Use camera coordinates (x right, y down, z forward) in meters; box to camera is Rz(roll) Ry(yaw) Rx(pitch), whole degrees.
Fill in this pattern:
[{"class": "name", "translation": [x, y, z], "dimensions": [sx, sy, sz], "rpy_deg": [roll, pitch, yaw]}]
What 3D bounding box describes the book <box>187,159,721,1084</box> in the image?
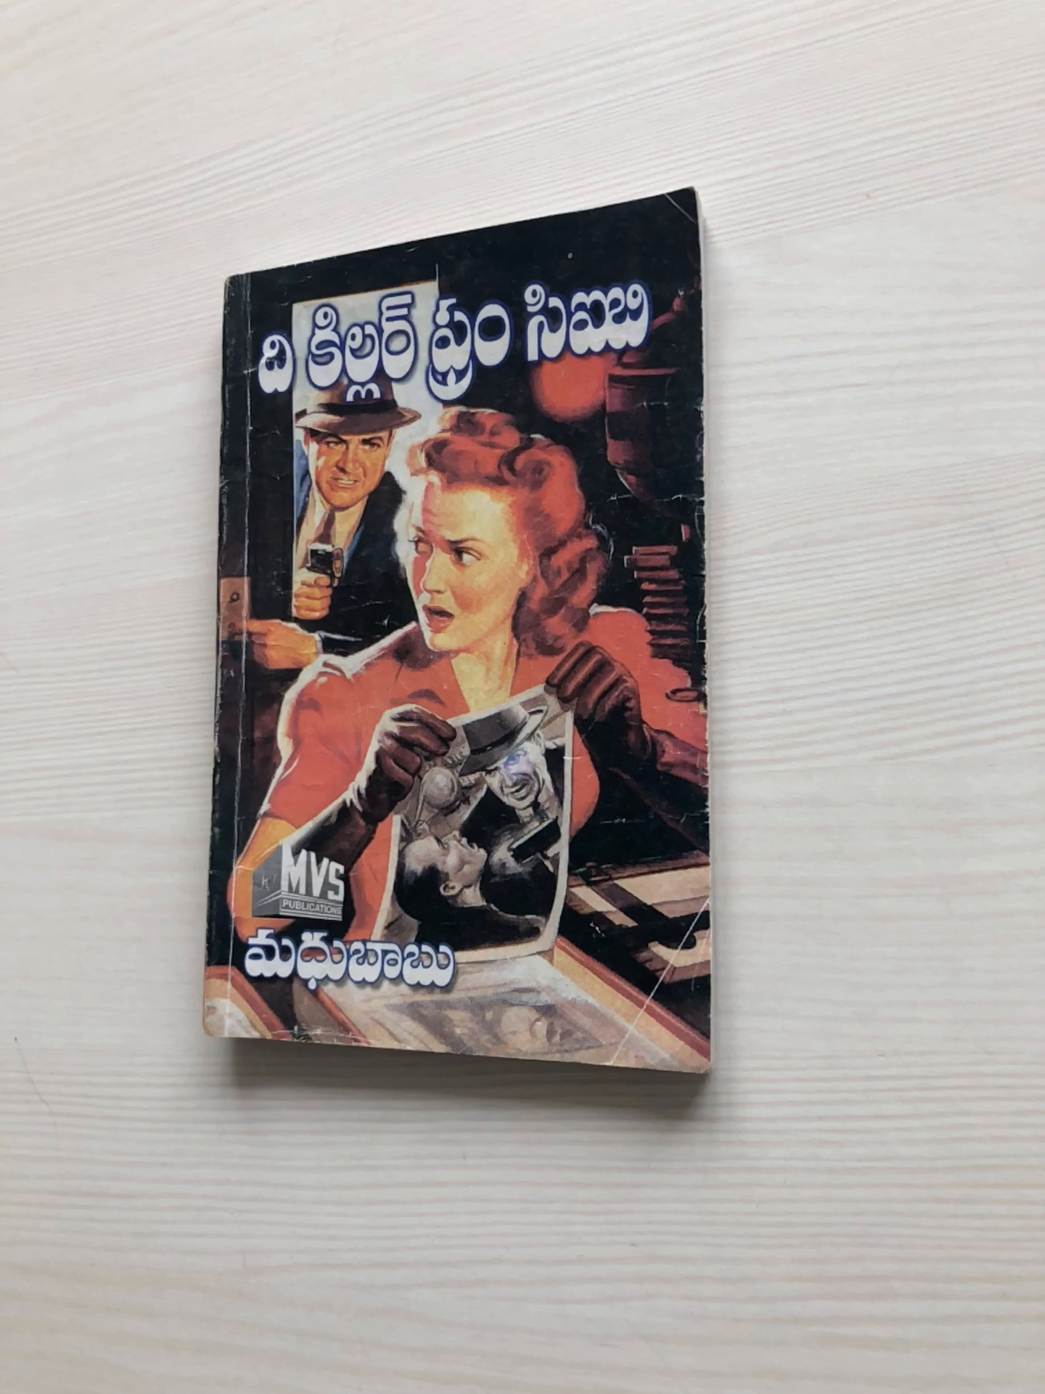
[{"class": "book", "translation": [-0.015, -0.014, 0.221], "dimensions": [0.100, 0.012, 0.160], "rpy_deg": [-2, 83, 19]}]
